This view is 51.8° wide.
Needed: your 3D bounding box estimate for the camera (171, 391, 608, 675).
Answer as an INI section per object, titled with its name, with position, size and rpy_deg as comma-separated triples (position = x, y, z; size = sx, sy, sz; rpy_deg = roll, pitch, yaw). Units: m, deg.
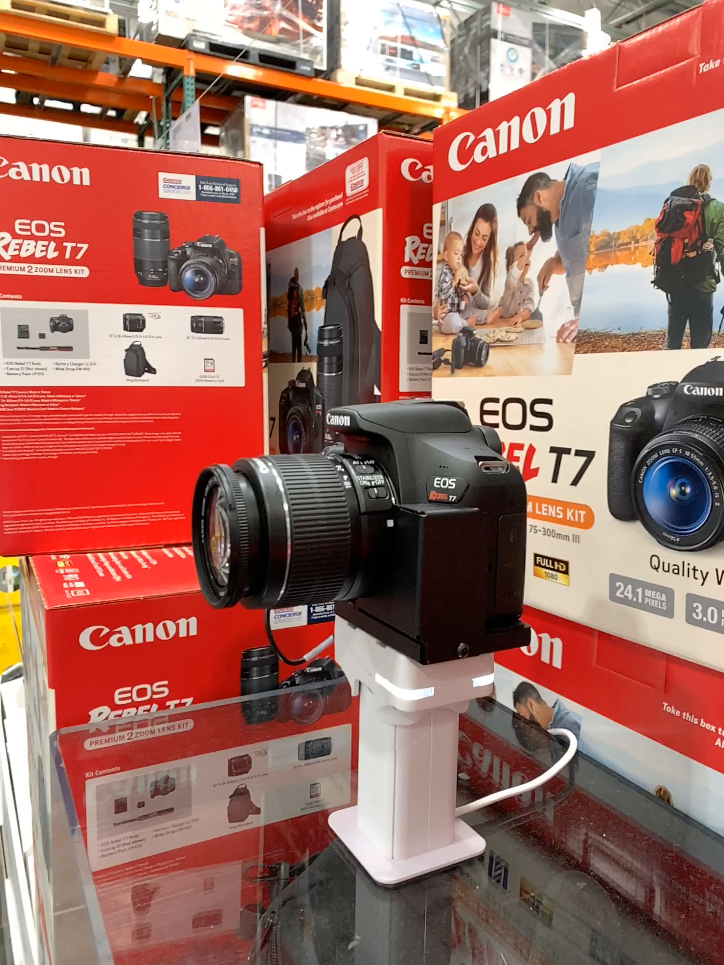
[camera]
position = 0.005, 0.007, 0.361
size = 0.160, 0.100, 0.140
rpy_deg = -4, 8, -27
